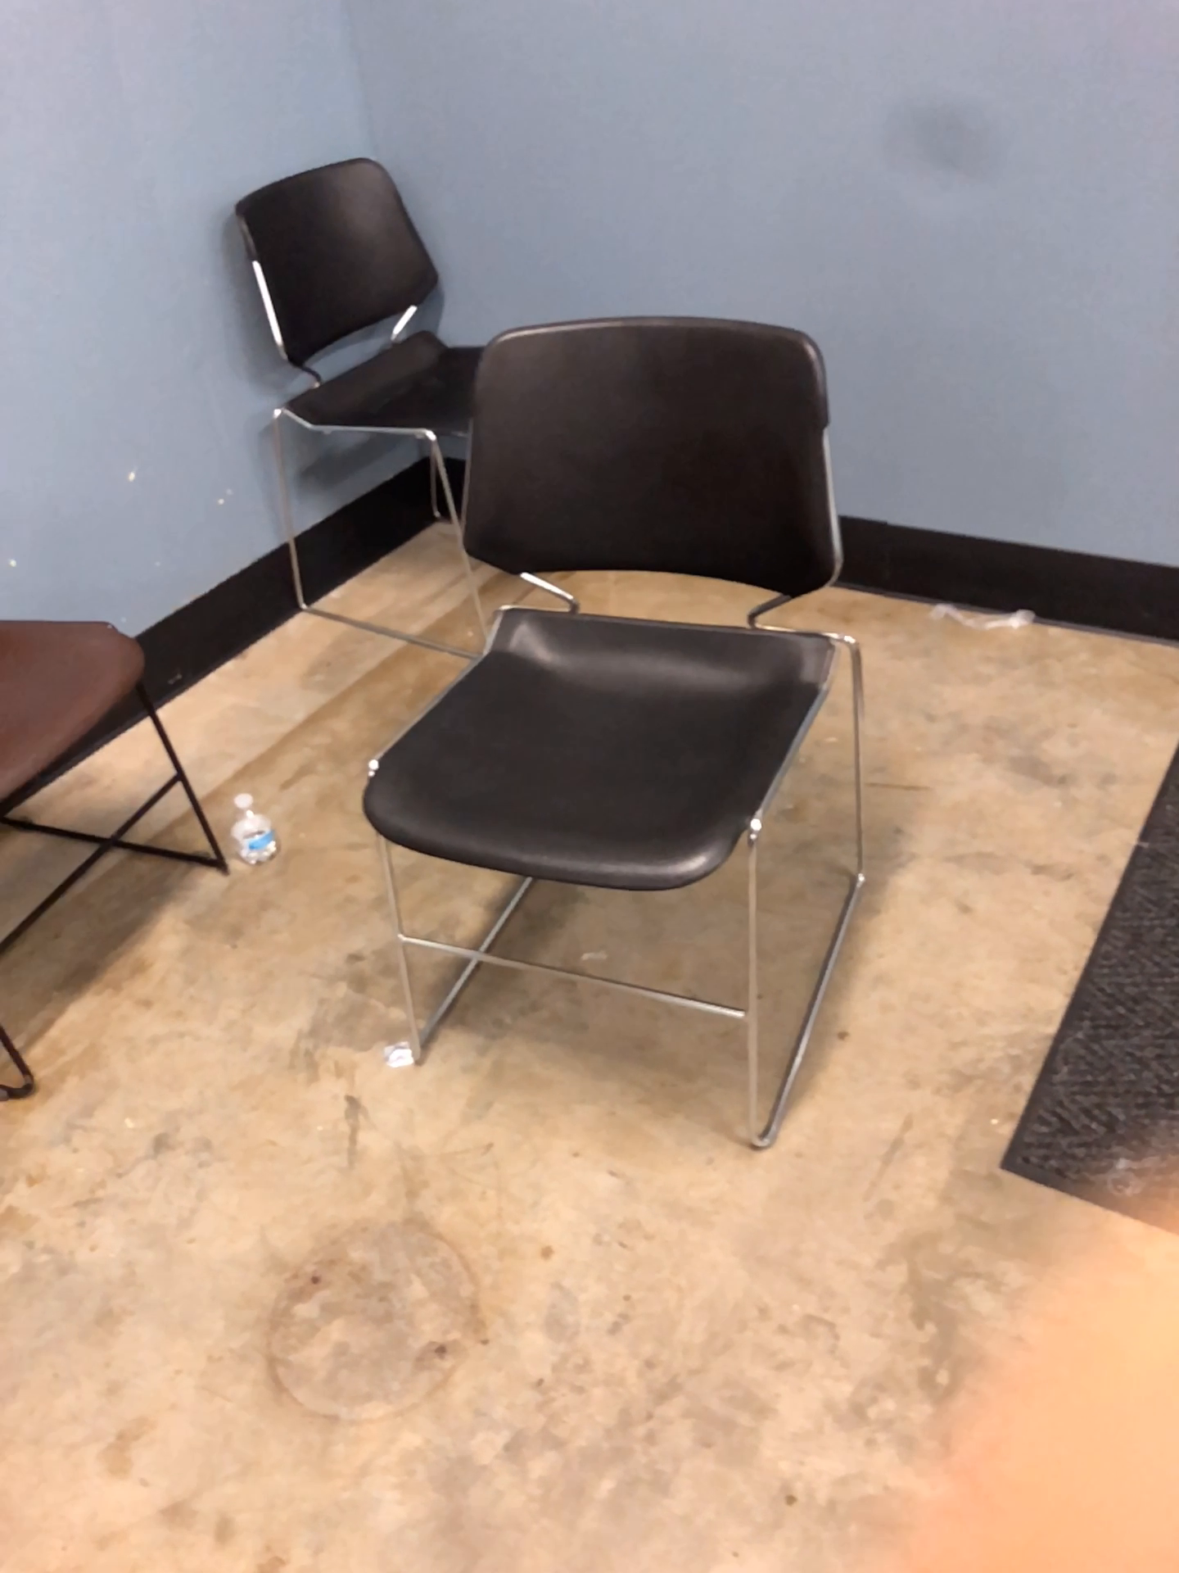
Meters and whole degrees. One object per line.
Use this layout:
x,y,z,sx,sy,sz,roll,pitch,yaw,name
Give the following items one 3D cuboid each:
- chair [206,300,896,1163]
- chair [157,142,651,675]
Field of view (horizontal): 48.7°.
0.033,-0.087,1.556,0.532,0.799,0.546,9,38,22,chair
-0.312,-0.752,2.535,0.596,0.799,0.552,16,42,30,chair
